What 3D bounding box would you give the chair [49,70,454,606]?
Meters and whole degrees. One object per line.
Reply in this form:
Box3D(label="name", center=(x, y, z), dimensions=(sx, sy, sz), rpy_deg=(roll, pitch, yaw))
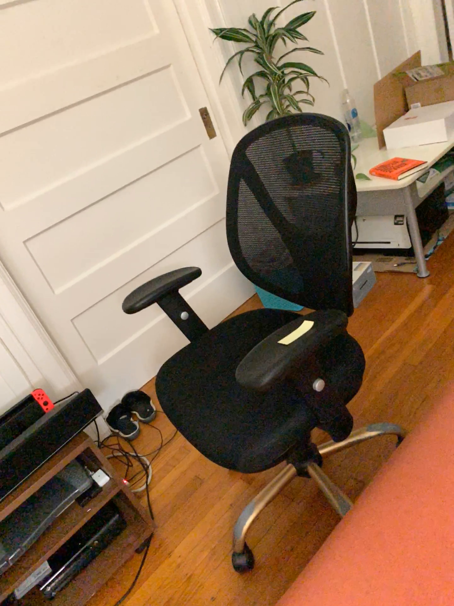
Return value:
Box3D(label="chair", center=(0.132, 0.073, 1.182), dimensions=(0.660, 0.974, 0.644), rpy_deg=(-28, 26, -21))
